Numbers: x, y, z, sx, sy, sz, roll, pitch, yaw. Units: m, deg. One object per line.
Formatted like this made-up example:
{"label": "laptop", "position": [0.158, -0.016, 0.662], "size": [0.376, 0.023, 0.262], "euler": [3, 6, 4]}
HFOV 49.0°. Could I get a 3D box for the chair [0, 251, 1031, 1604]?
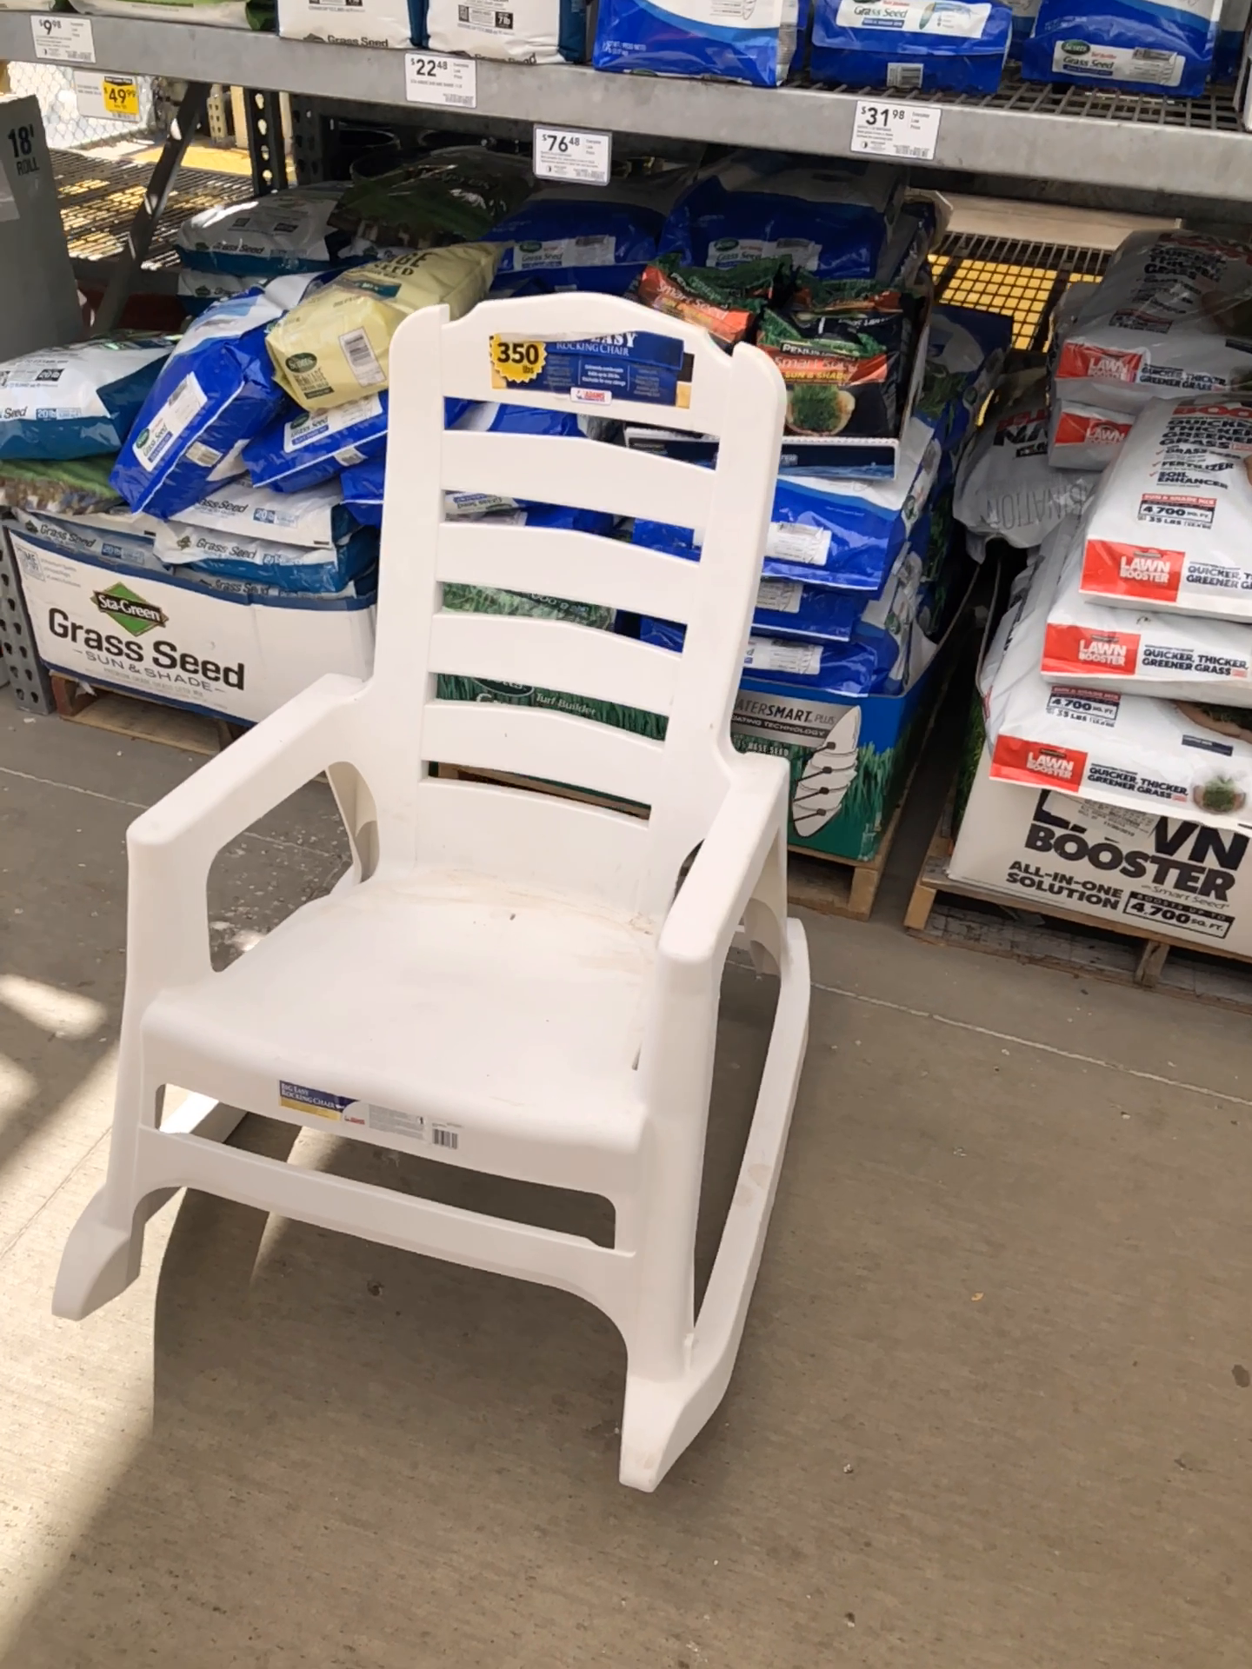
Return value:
{"label": "chair", "position": [-0.096, -0.014, 1.538], "size": [0.844, 0.928, 1.036], "euler": [12, 35, 11]}
